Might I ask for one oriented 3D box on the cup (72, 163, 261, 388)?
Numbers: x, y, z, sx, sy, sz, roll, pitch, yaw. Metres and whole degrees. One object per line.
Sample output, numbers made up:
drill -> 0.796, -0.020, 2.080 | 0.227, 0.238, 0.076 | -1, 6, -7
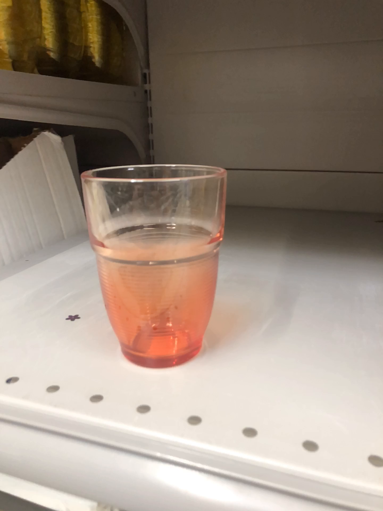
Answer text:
cup -> -0.013, 0.004, 0.229 | 0.080, 0.100, 0.075 | 0, 17, 0
